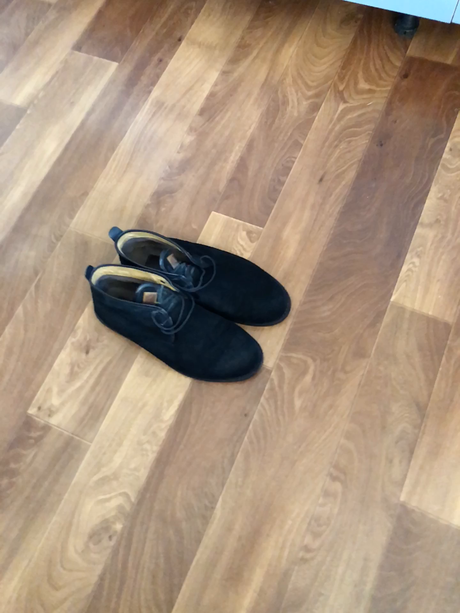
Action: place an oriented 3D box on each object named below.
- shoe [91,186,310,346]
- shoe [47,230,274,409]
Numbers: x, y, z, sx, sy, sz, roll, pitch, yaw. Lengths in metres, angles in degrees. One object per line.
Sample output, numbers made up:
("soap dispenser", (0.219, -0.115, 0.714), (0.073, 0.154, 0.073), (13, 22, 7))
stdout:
("shoe", (-0.040, -0.060, 0.765), (0.290, 0.130, 0.110), (20, 72, 12))
("shoe", (-0.092, 0.020, 0.729), (0.290, 0.130, 0.110), (25, 73, 14))
